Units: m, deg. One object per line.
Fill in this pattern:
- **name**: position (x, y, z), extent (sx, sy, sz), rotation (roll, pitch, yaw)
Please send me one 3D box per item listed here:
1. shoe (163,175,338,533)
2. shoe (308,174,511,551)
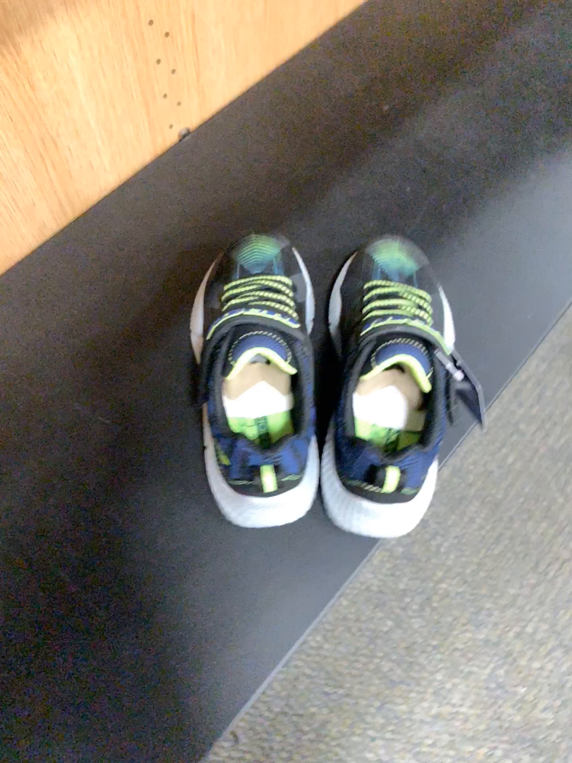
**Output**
- **shoe**: position (-0.023, -0.019, 0.403), extent (0.092, 0.100, 0.220), rotation (-1, 66, -2)
- **shoe**: position (0.074, -0.013, 0.392), extent (0.098, 0.100, 0.220), rotation (5, 66, 1)
